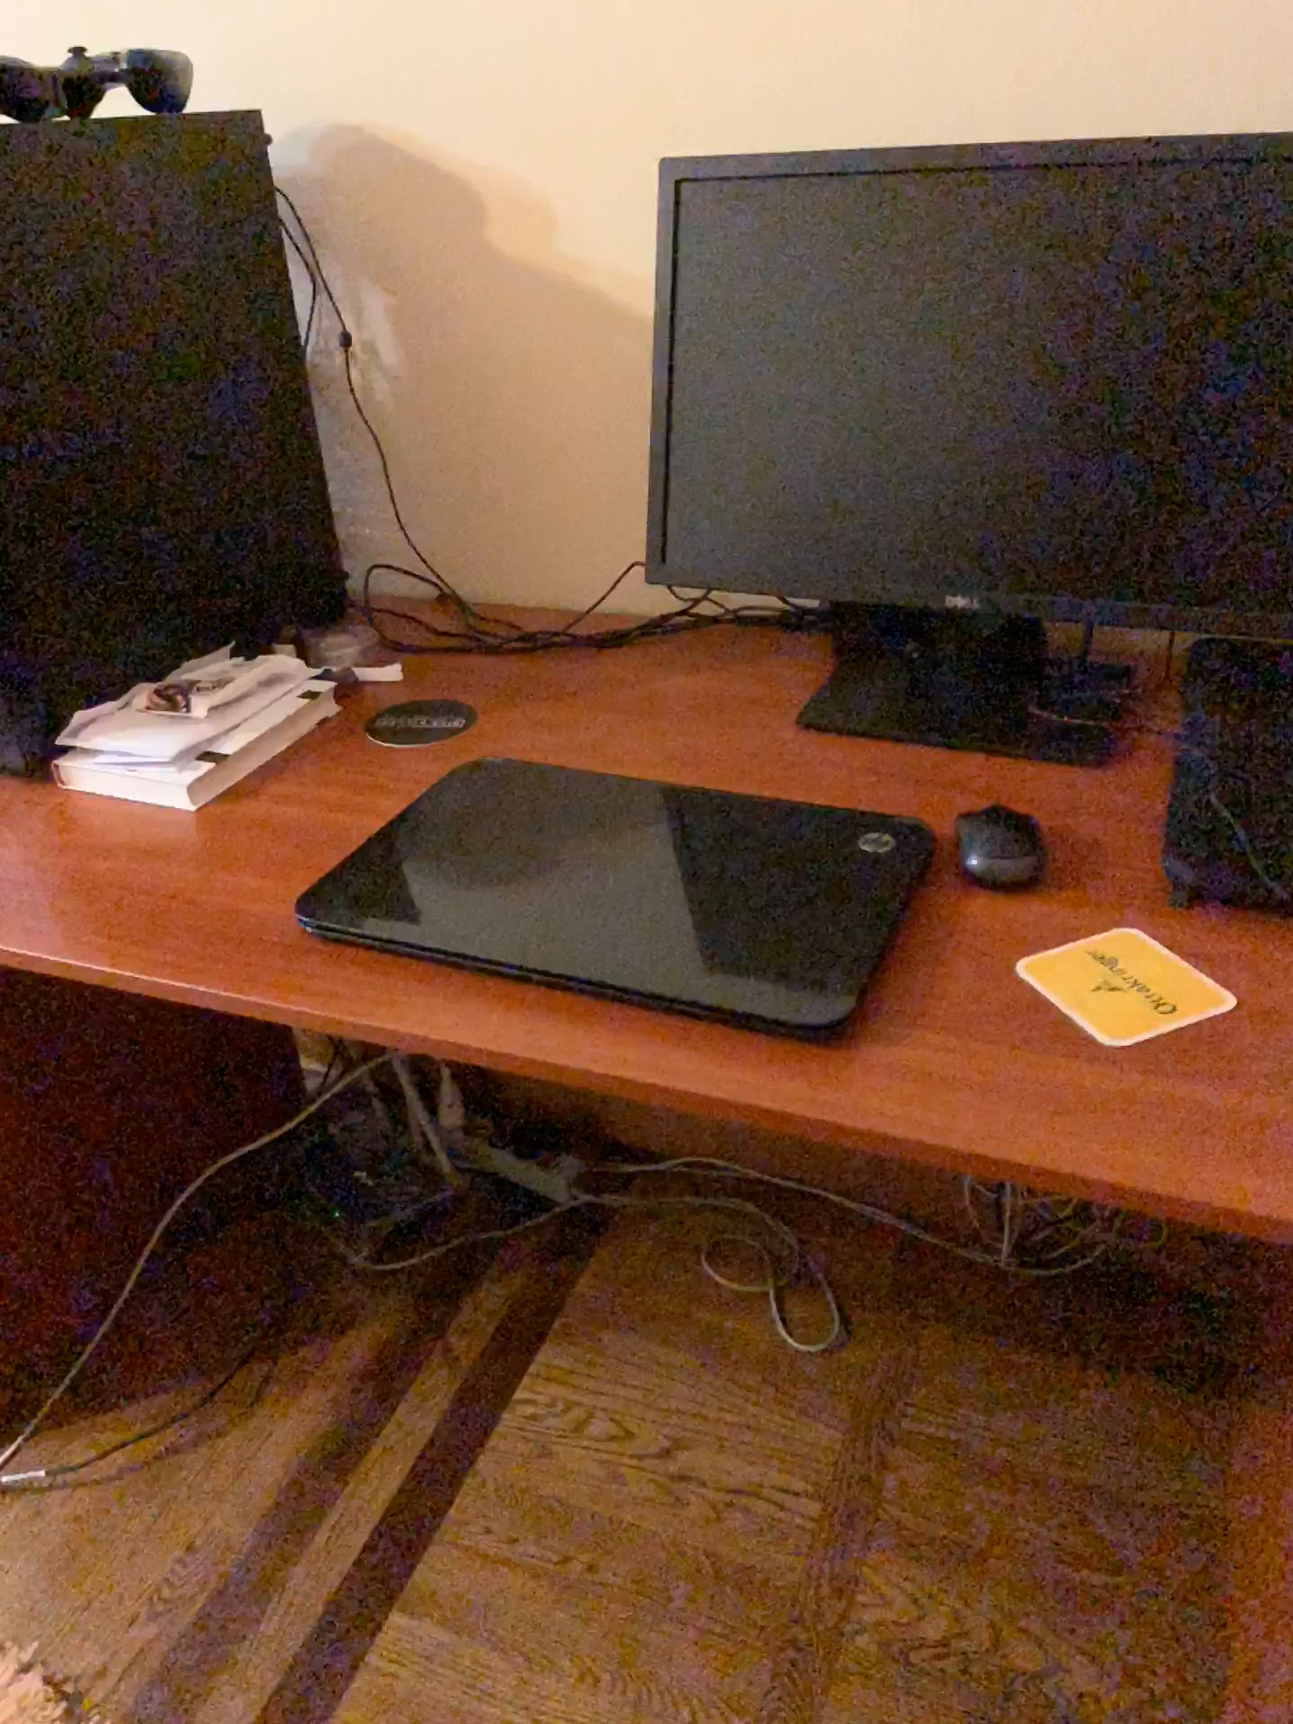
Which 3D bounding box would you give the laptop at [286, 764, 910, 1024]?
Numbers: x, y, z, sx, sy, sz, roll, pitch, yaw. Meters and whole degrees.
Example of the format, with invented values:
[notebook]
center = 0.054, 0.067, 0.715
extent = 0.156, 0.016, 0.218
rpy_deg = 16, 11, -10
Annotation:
[laptop]
center = -0.030, 0.006, 0.927
extent = 0.382, 0.001, 0.243
rpy_deg = 9, 32, 23
